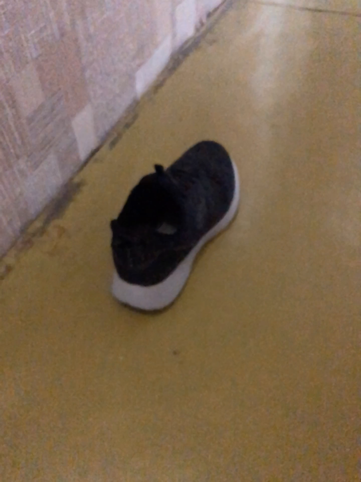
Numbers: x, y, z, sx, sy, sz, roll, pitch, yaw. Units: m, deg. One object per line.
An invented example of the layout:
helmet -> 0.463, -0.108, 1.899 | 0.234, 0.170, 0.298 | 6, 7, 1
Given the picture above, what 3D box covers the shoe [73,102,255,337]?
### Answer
shoe -> -0.003, -0.048, 0.593 | 0.120, 0.130, 0.321 | 17, 54, 16
